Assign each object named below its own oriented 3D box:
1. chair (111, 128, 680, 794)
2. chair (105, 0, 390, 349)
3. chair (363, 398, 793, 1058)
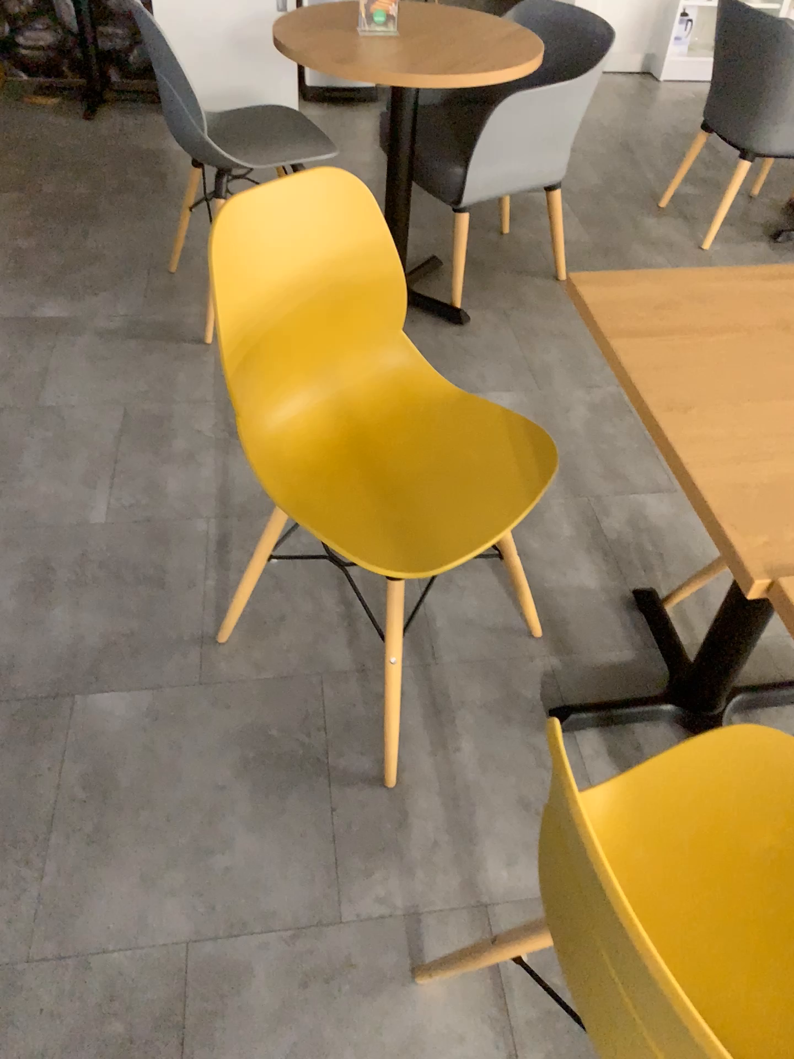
[{"bbox_3d":[-0.014,-0.110,1.306,0.521,0.781,0.519,34,51,28],"label":"chair"},{"bbox_3d":[-0.396,-1.023,2.231,0.540,0.781,0.520,-18,48,-21],"label":"chair"},{"bbox_3d":[0.317,0.385,0.819,0.529,0.781,0.520,-15,47,-19],"label":"chair"}]
